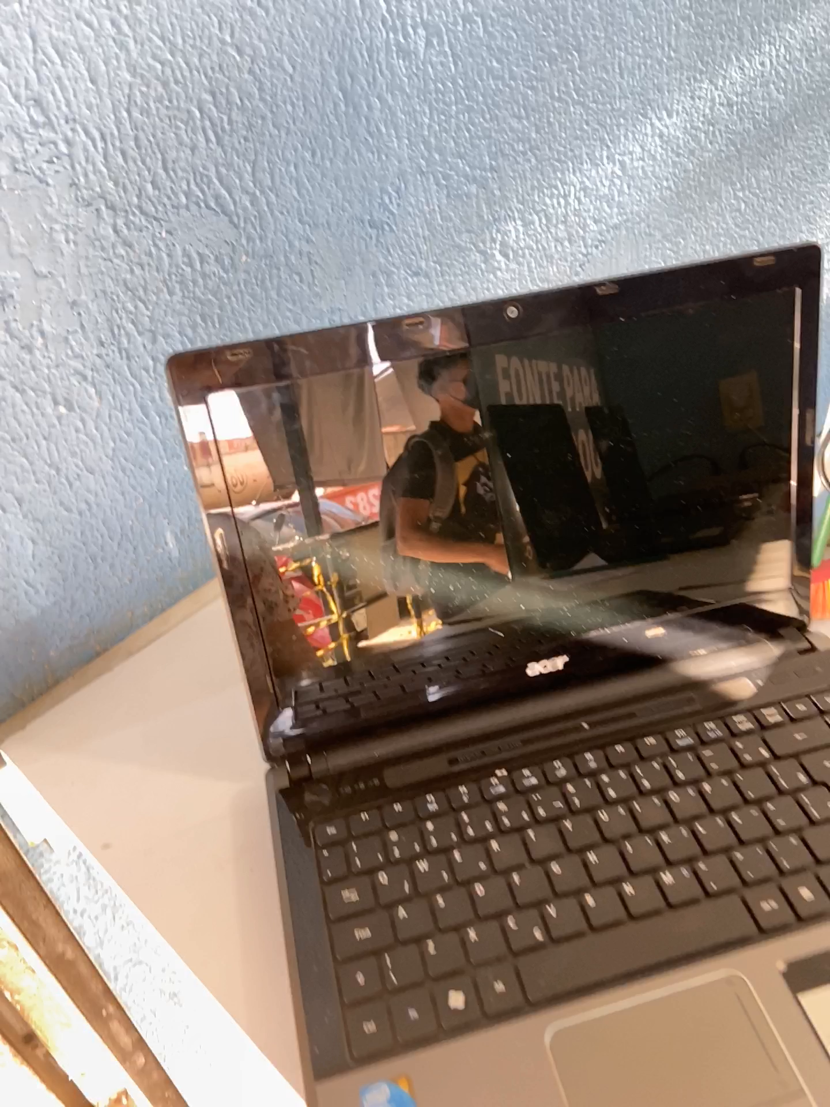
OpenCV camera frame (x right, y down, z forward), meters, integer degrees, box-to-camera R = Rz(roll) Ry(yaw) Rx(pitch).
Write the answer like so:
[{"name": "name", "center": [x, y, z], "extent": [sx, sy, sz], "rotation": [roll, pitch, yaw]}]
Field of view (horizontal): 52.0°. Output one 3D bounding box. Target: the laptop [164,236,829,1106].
[{"name": "laptop", "center": [0.093, 0.049, 0.363], "extent": [0.337, 0.207, 0.320], "rotation": [-12, 40, -8]}]
